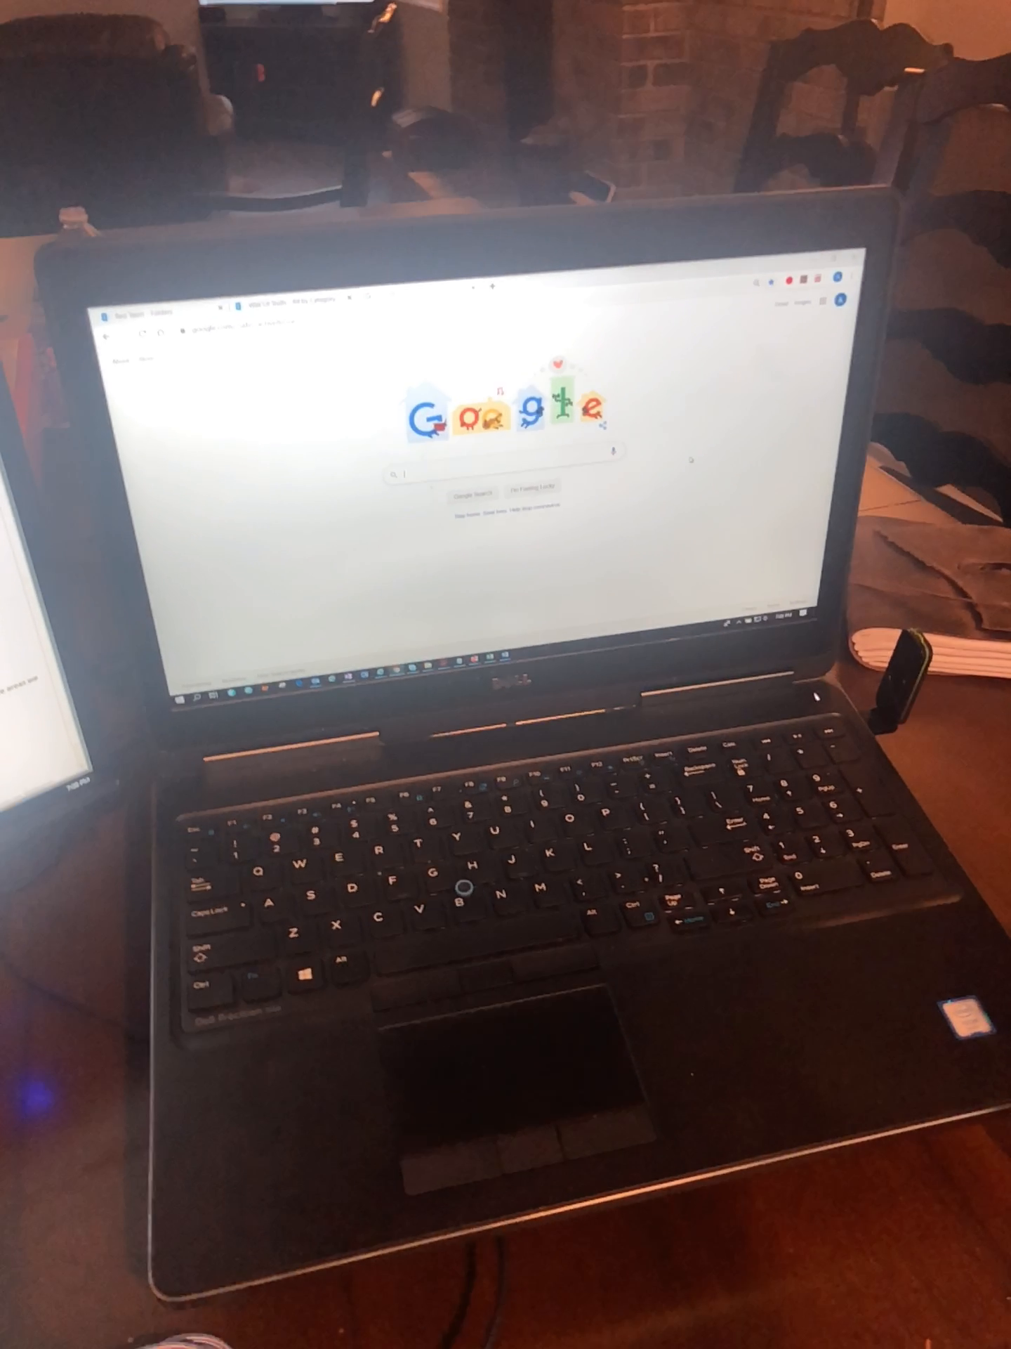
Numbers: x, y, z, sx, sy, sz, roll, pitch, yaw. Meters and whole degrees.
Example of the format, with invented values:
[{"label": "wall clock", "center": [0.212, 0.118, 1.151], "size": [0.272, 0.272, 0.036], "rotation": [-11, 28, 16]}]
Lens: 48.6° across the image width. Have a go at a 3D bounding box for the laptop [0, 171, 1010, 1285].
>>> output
[{"label": "laptop", "center": [0.029, -0.014, 0.451], "size": [0.367, 0.258, 0.287], "rotation": [-8, 37, -11]}]
